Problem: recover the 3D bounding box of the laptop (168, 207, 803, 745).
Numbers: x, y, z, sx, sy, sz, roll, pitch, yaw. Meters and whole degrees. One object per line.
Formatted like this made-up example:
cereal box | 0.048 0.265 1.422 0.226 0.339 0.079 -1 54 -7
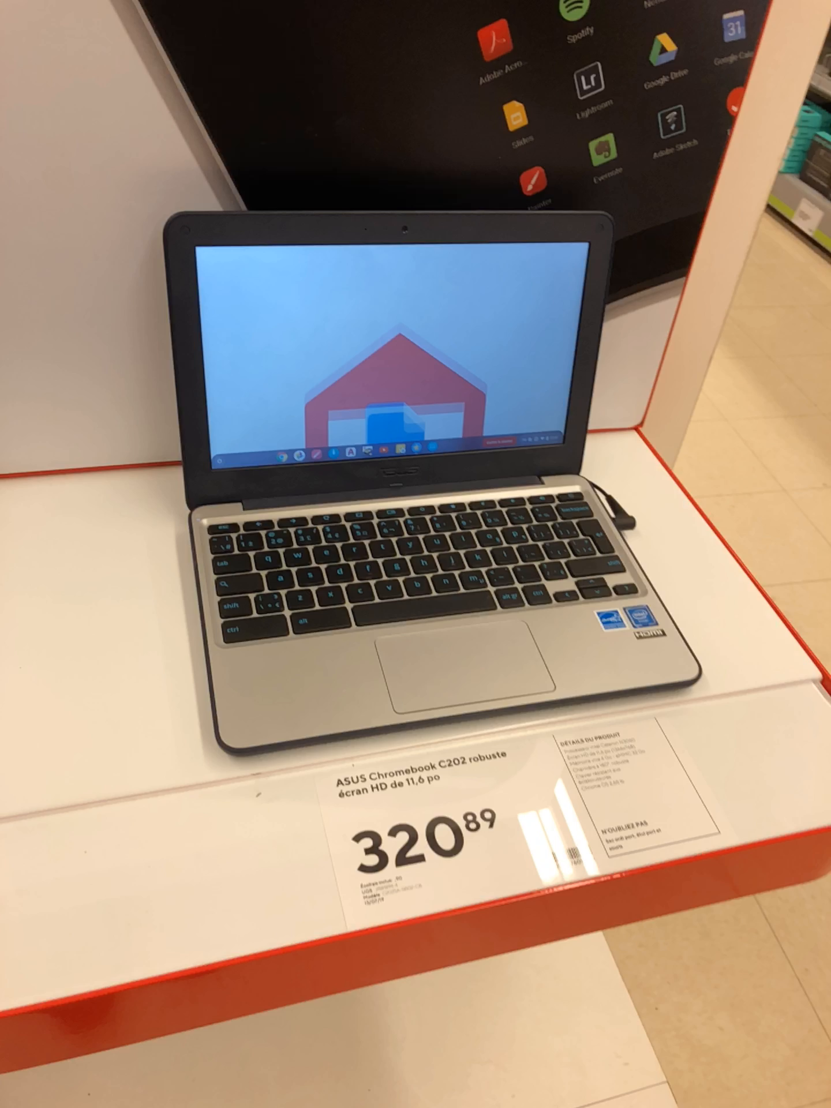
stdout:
laptop | 0.014 -0.062 0.529 0.274 0.174 0.231 -6 45 -16
